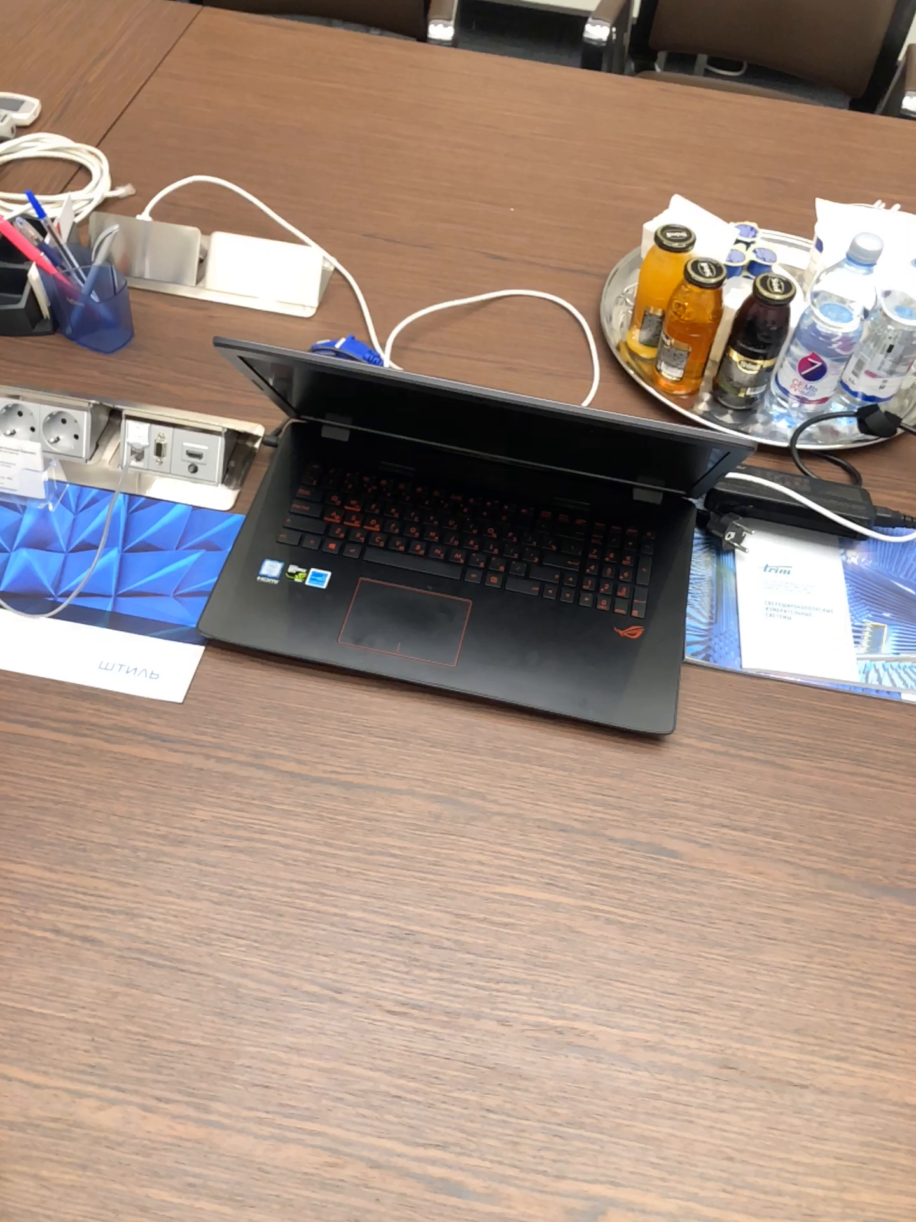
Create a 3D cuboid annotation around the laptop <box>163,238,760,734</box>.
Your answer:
[{"bbox_3d":[0.012,-0.097,0.776,0.376,0.189,0.238,12,55,4],"label":"laptop"}]
